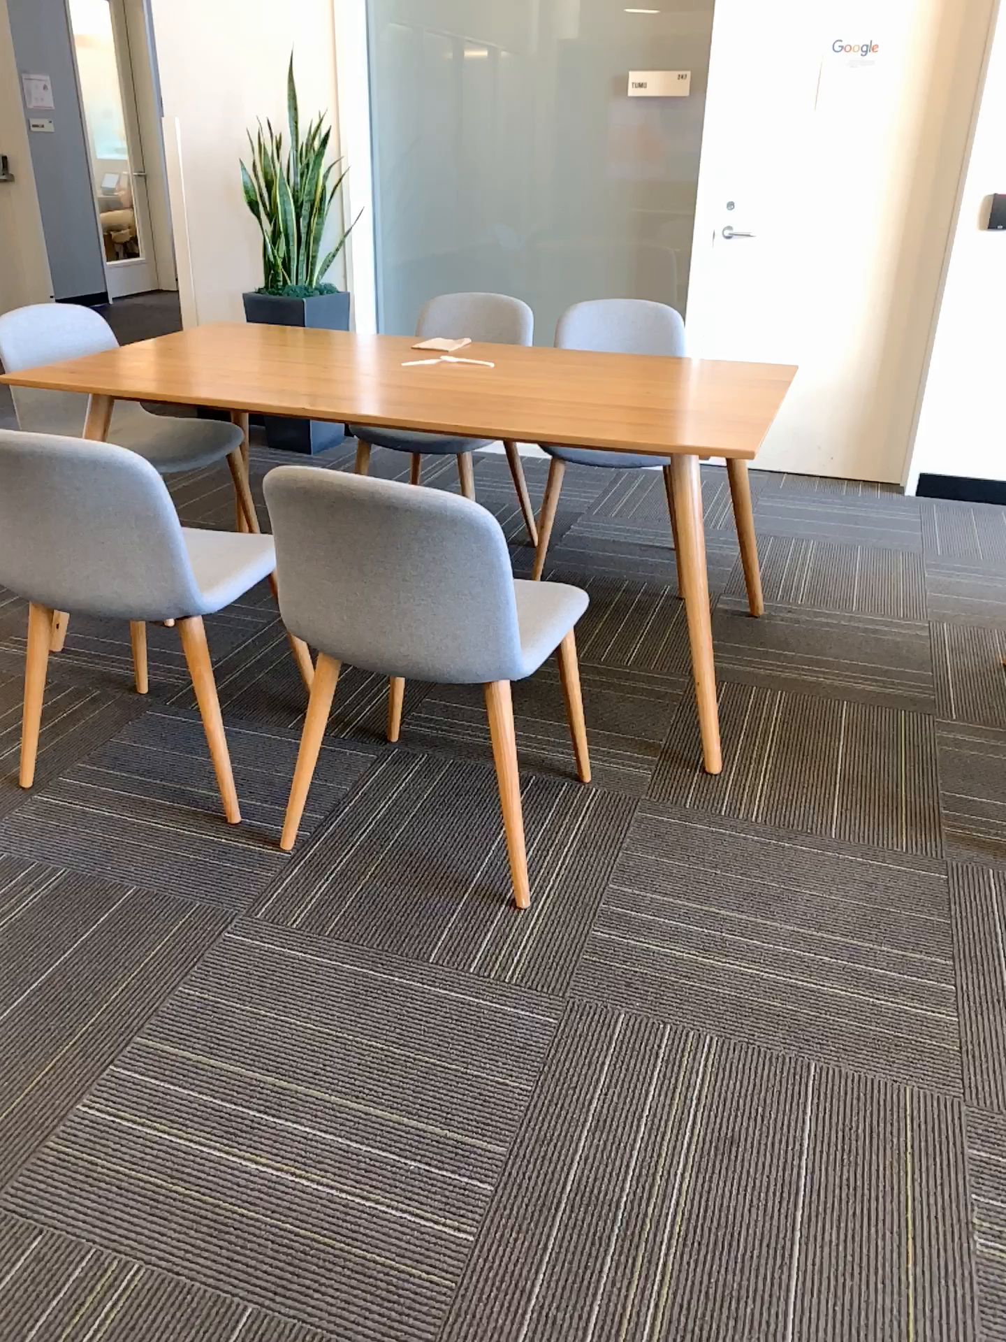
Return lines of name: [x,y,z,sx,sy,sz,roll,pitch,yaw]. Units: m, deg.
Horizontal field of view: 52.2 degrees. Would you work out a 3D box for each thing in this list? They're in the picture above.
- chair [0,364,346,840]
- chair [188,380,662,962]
chair: [-0.722,-0.175,2.145,0.571,0.775,0.532,9,28,15]
chair: [-0.105,-0.044,1.869,0.591,0.795,0.572,11,28,19]
